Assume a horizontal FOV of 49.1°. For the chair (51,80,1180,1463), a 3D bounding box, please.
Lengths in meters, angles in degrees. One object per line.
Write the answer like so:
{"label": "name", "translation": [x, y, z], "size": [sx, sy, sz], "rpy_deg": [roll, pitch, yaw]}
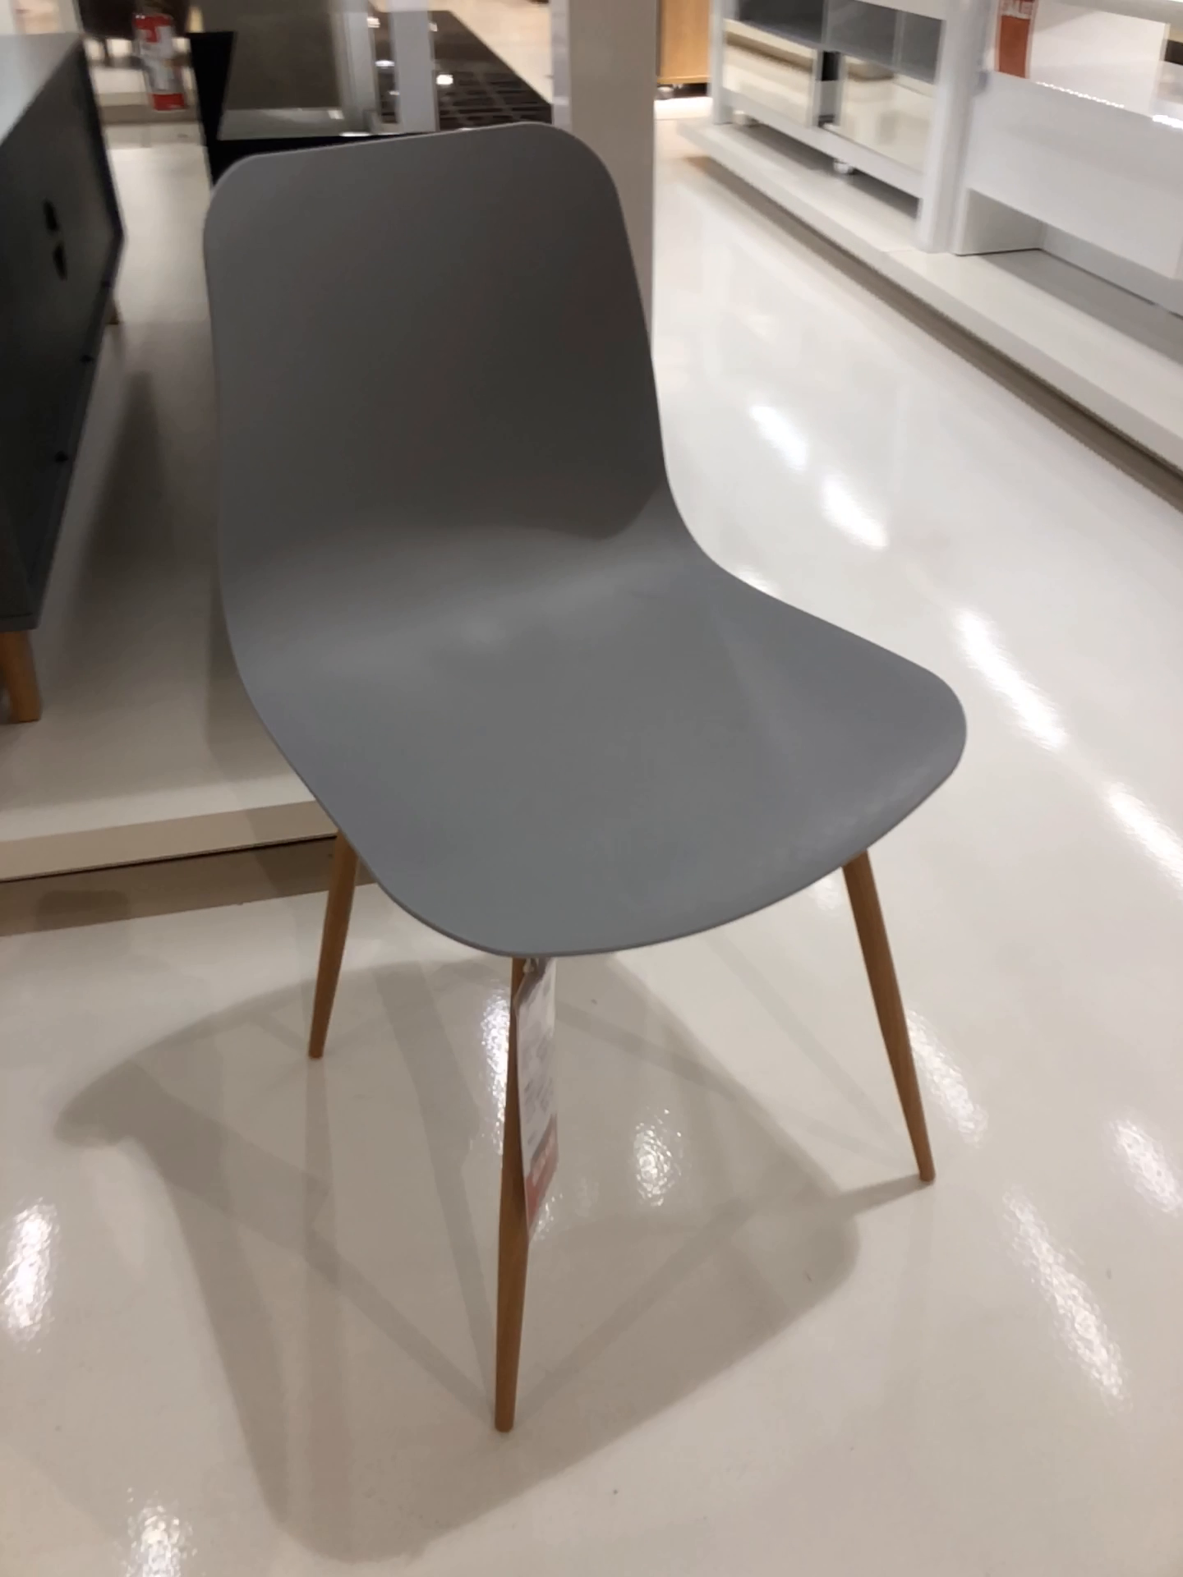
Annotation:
{"label": "chair", "translation": [-0.009, -0.028, 0.976], "size": [0.471, 0.814, 0.473], "rpy_deg": [-20, 39, -24]}
